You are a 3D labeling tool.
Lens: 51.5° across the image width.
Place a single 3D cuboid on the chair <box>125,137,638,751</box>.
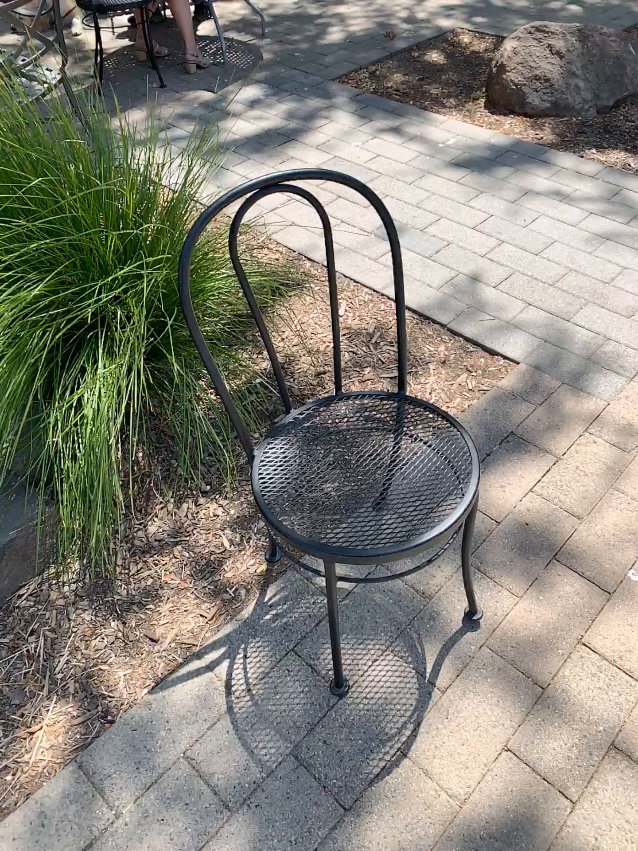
[{"bbox_3d":[0.064,0.043,1.137,0.468,0.788,0.543,-23,48,-20],"label":"chair"}]
